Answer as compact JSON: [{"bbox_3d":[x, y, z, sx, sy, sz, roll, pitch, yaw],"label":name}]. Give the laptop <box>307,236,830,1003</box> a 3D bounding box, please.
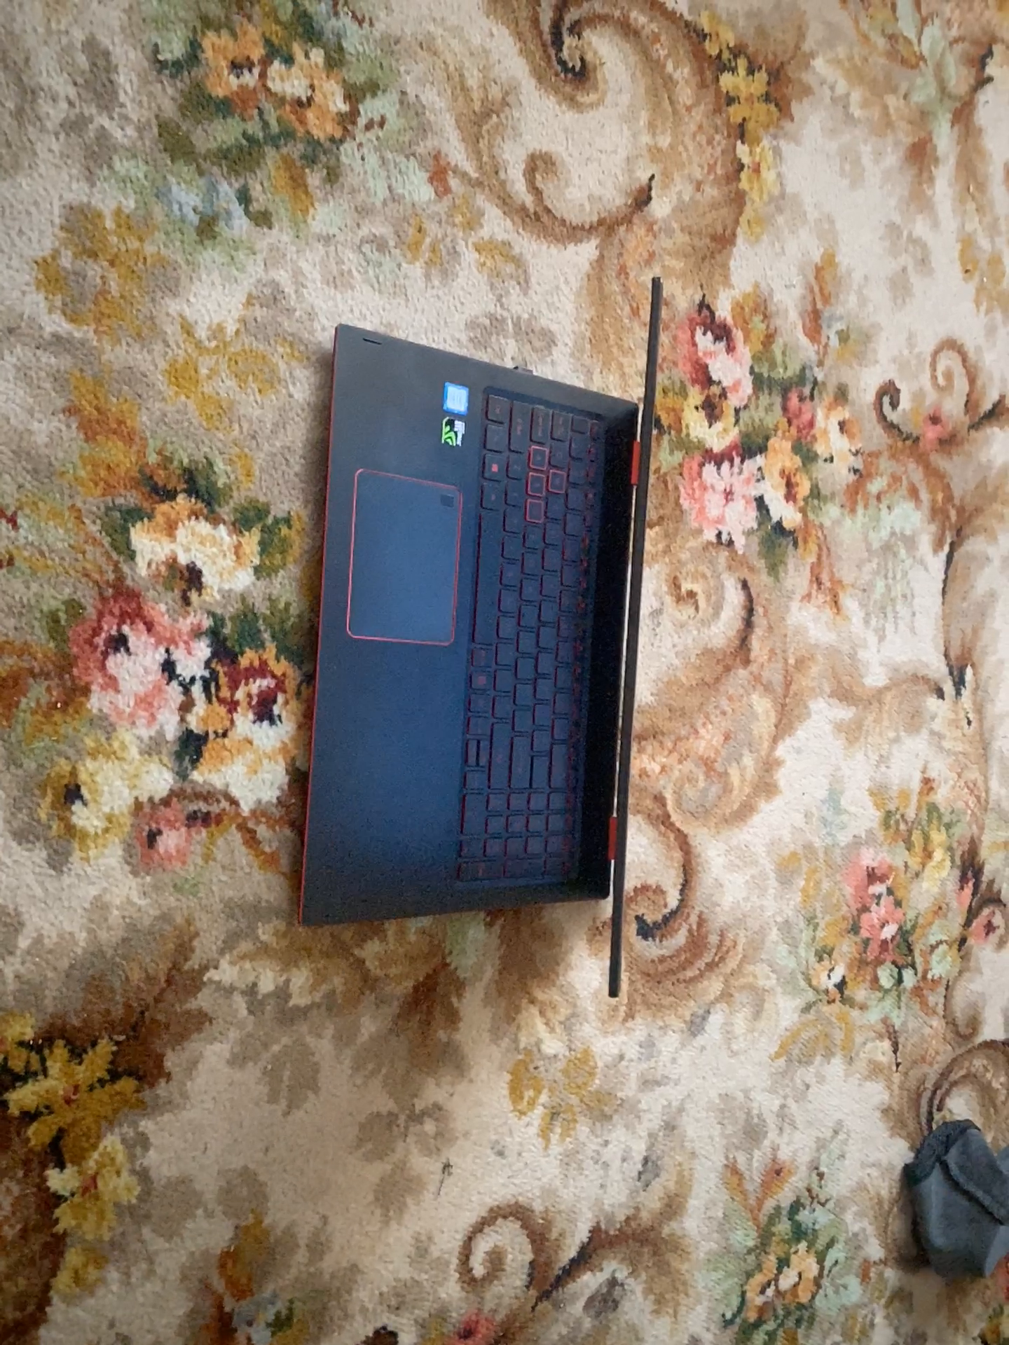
[{"bbox_3d":[0.034,-0.020,0.607,0.225,0.172,0.356,4,90,-32],"label":"laptop"}]
